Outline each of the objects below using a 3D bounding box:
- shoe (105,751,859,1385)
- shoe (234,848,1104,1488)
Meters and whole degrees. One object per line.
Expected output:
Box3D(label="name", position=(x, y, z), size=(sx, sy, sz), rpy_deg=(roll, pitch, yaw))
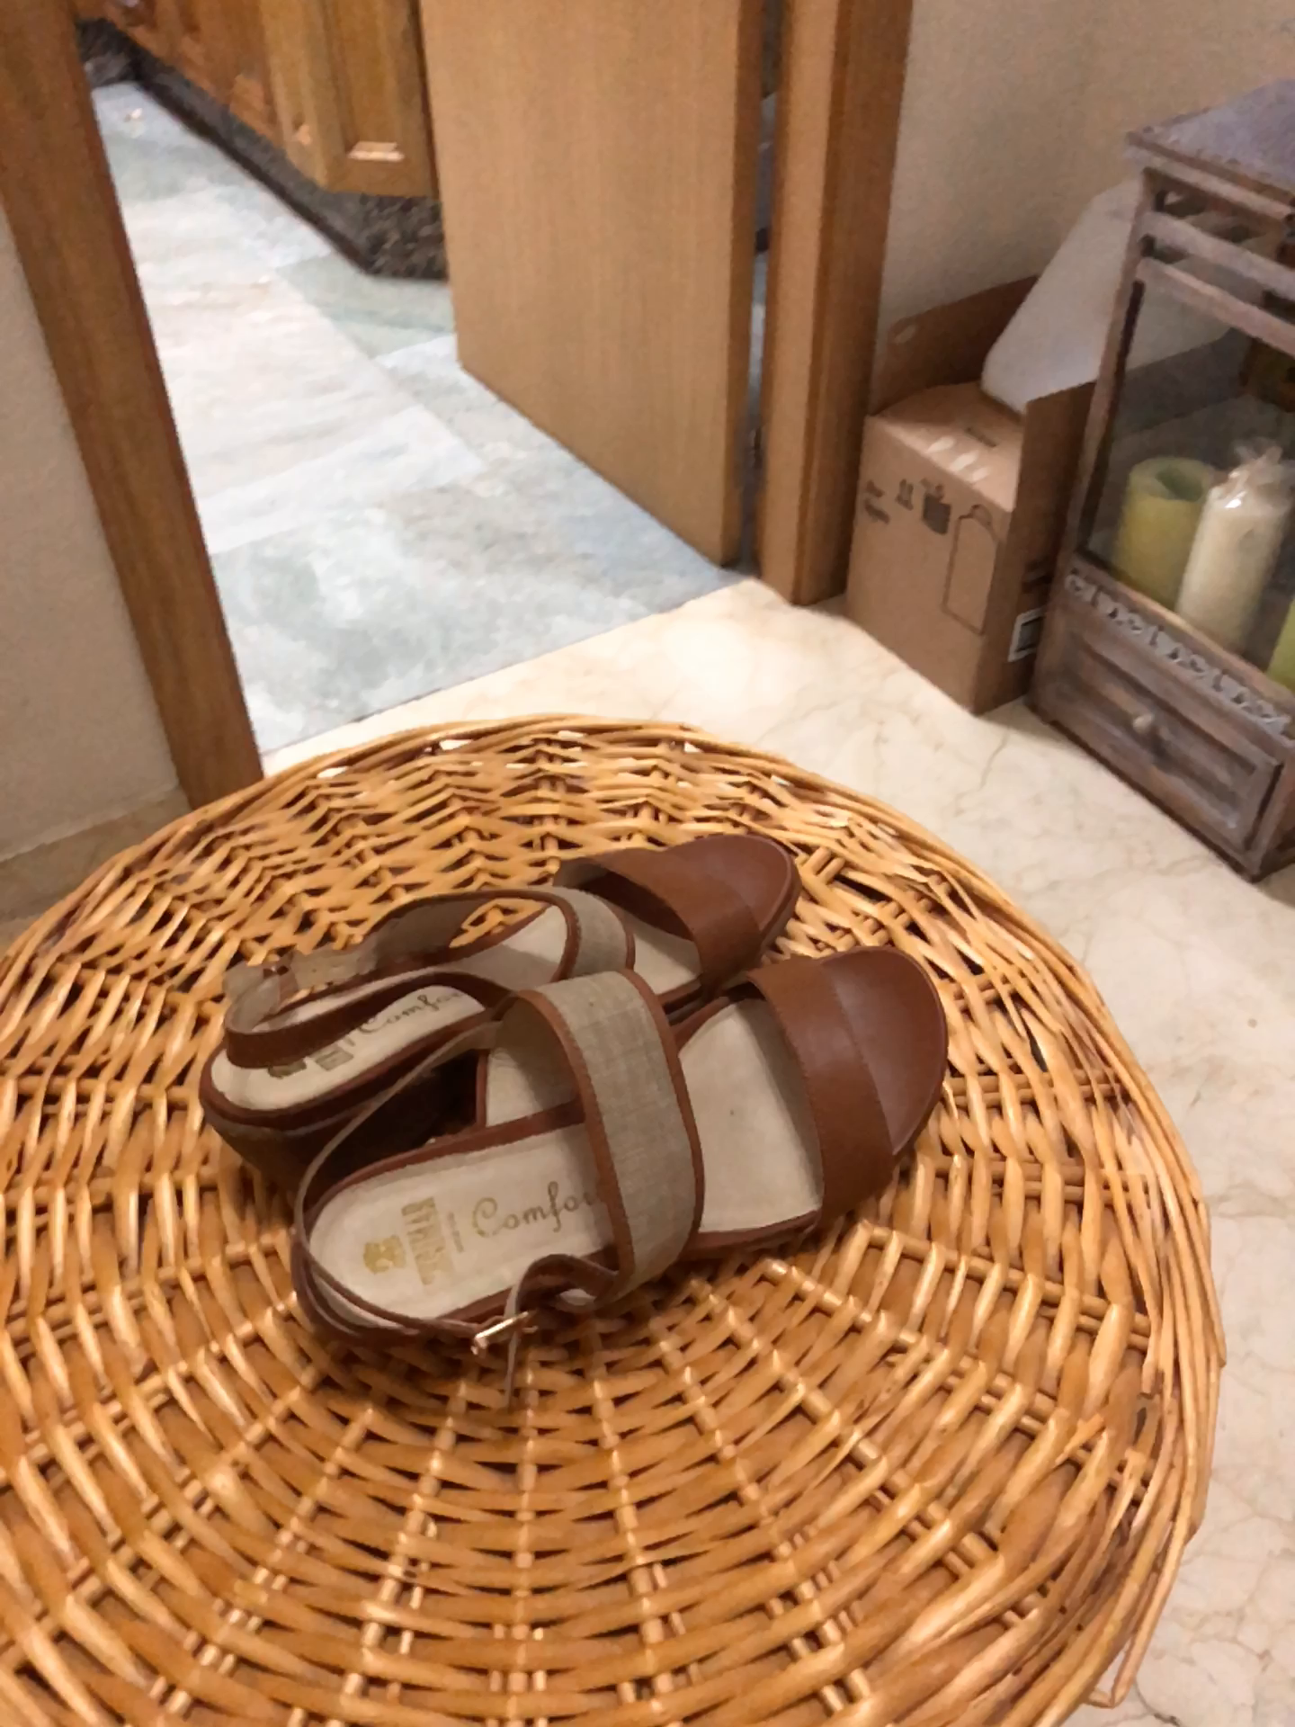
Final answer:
Box3D(label="shoe", position=(-0.052, 0.067, 0.555), size=(0.270, 0.090, 0.090), rpy_deg=(-29, 51, -26))
Box3D(label="shoe", position=(0.010, 0.097, 0.494), size=(0.270, 0.070, 0.100), rpy_deg=(-21, 63, -19))
